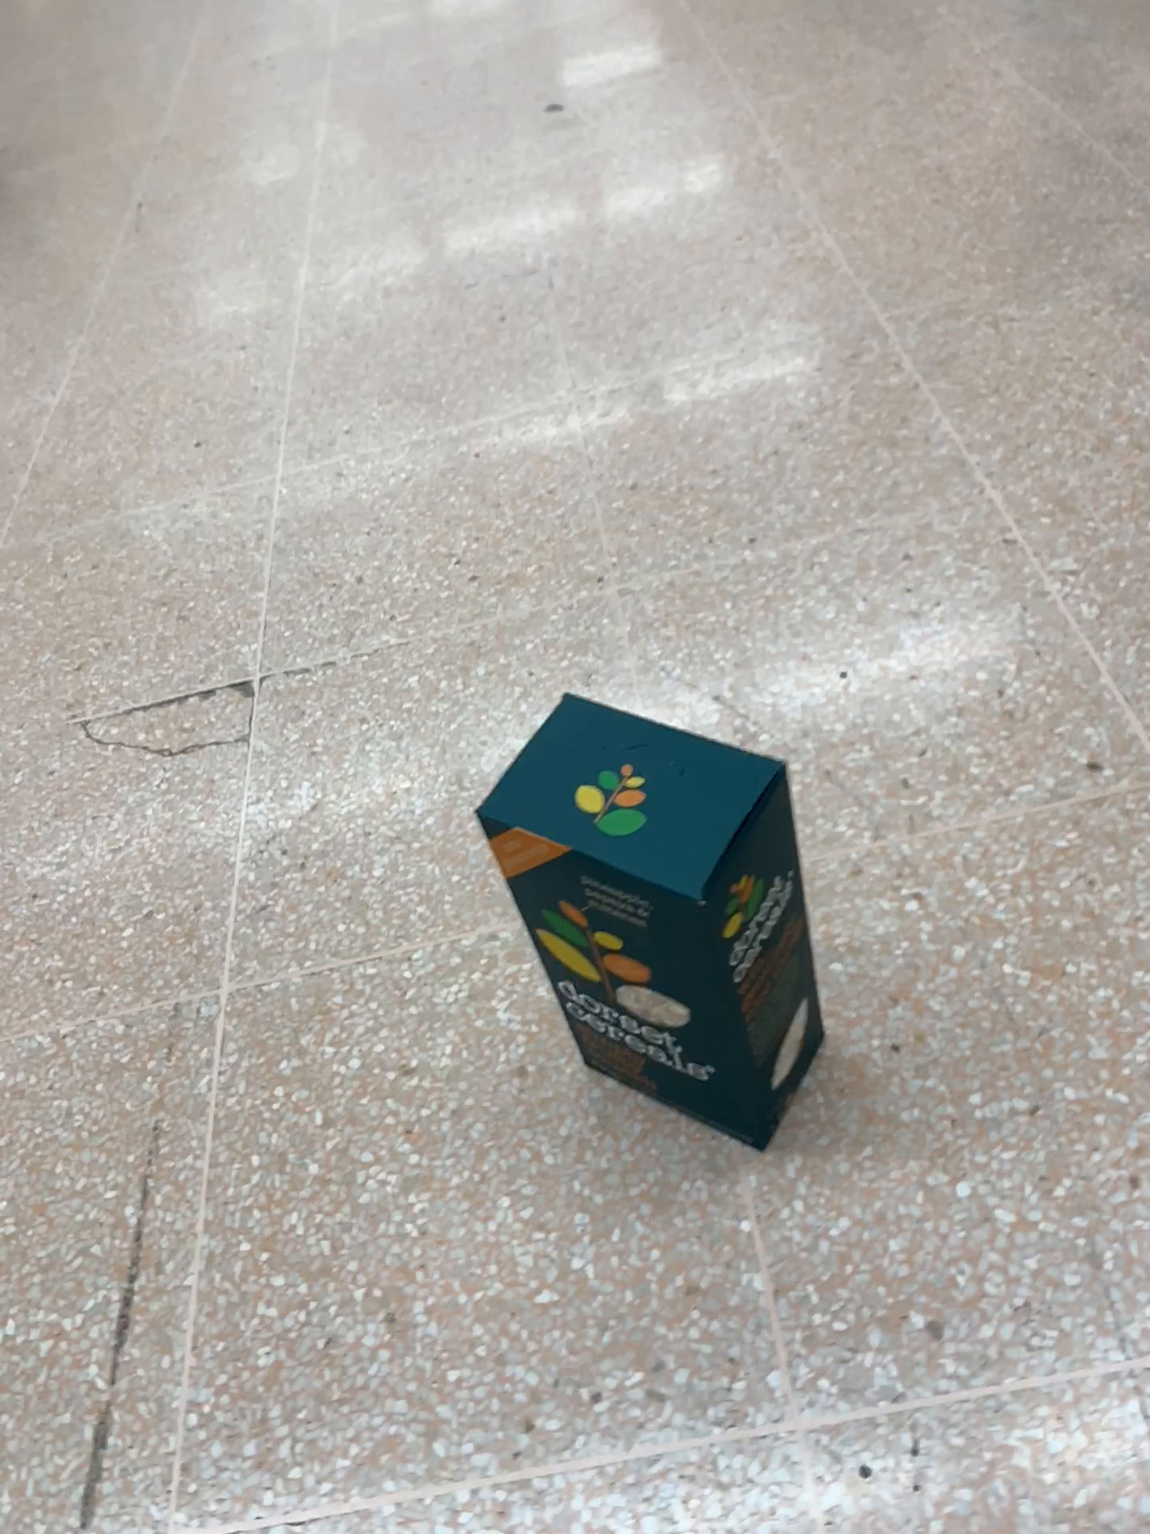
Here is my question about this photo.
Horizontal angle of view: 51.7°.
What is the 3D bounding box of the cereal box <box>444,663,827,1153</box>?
[{"bbox_3d":[0.041,0.076,0.574,0.120,0.238,0.080,19,57,30],"label":"cereal box"}]
